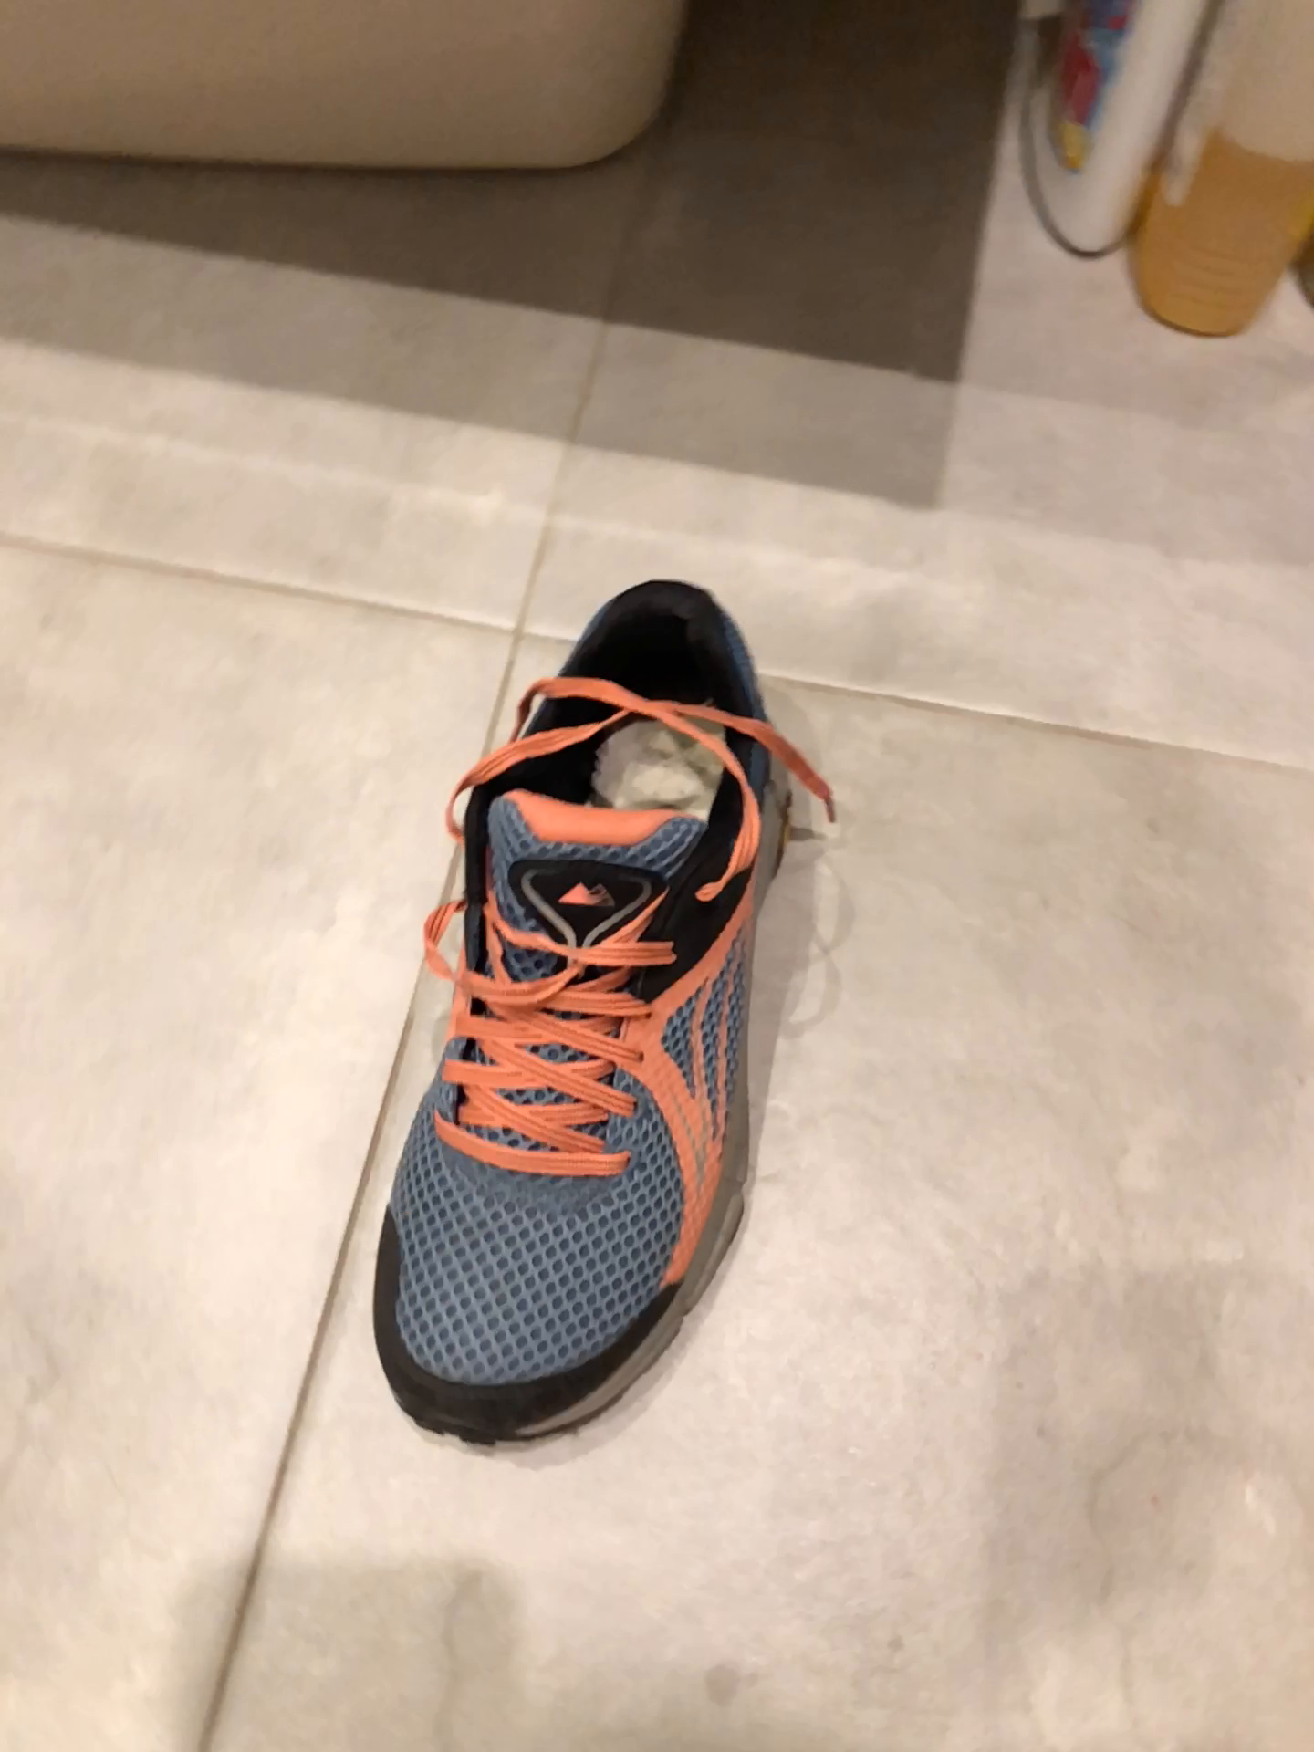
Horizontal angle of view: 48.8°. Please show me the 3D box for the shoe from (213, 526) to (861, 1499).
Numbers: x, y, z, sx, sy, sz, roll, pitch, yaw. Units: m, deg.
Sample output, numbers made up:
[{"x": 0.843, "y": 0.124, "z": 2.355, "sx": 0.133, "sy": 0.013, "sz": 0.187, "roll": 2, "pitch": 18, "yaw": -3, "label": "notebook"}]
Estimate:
[{"x": -0.023, "y": 0.036, "z": 0.427, "sx": 0.110, "sy": 0.090, "sz": 0.251, "roll": 13, "pitch": 68, "yaw": 5, "label": "shoe"}]
